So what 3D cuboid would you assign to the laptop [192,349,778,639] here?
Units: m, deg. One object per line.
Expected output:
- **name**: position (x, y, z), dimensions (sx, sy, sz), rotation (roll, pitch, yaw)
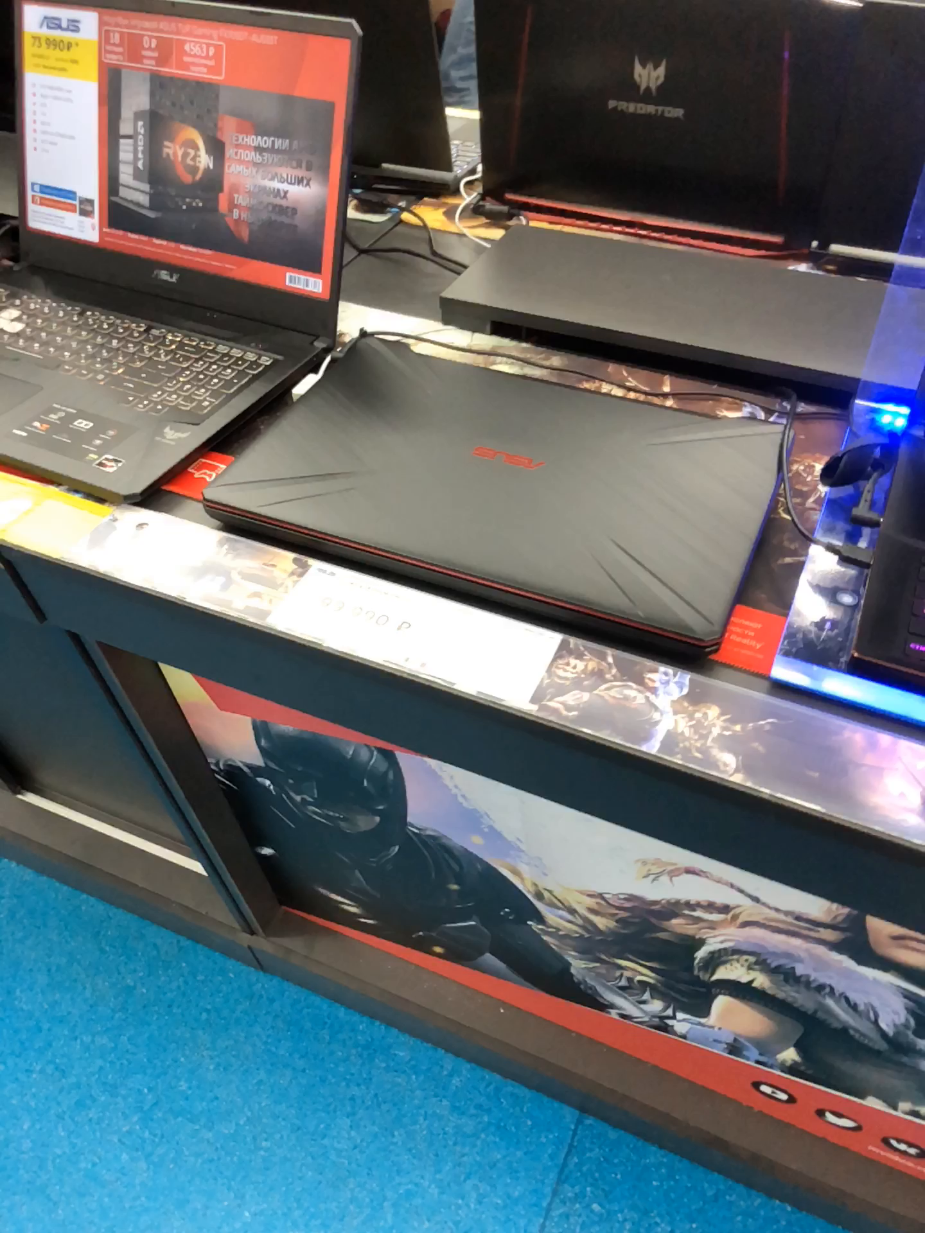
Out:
- **laptop**: position (0.025, -0.116, 0.782), dimensions (0.388, 0.002, 0.253), rotation (16, 44, 18)
